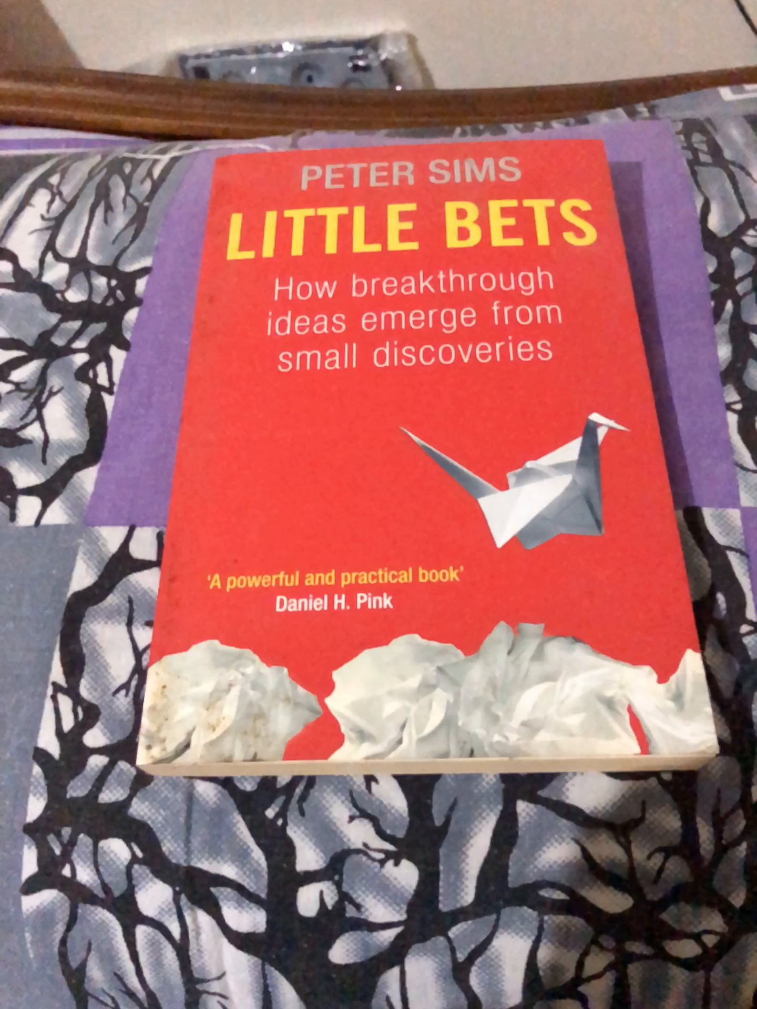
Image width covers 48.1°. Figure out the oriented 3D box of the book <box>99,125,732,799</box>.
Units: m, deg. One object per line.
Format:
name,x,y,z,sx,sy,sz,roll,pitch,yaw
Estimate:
book,0.009,-0.033,0.272,0.150,0.020,0.240,-2,59,4
